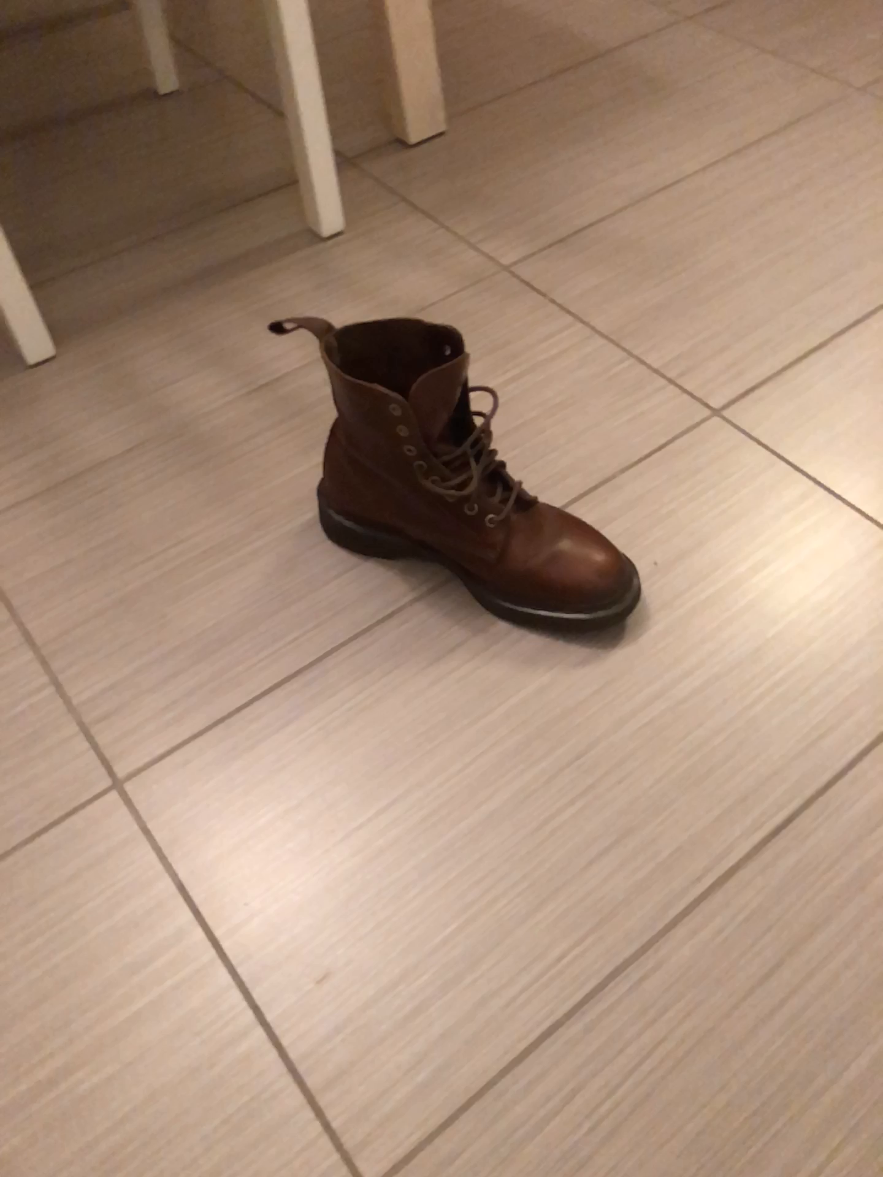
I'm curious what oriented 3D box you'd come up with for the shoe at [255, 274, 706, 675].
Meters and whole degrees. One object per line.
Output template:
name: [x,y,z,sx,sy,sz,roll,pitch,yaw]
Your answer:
shoe: [0.025,-0.087,0.713,0.282,0.180,0.116,25,57,21]
